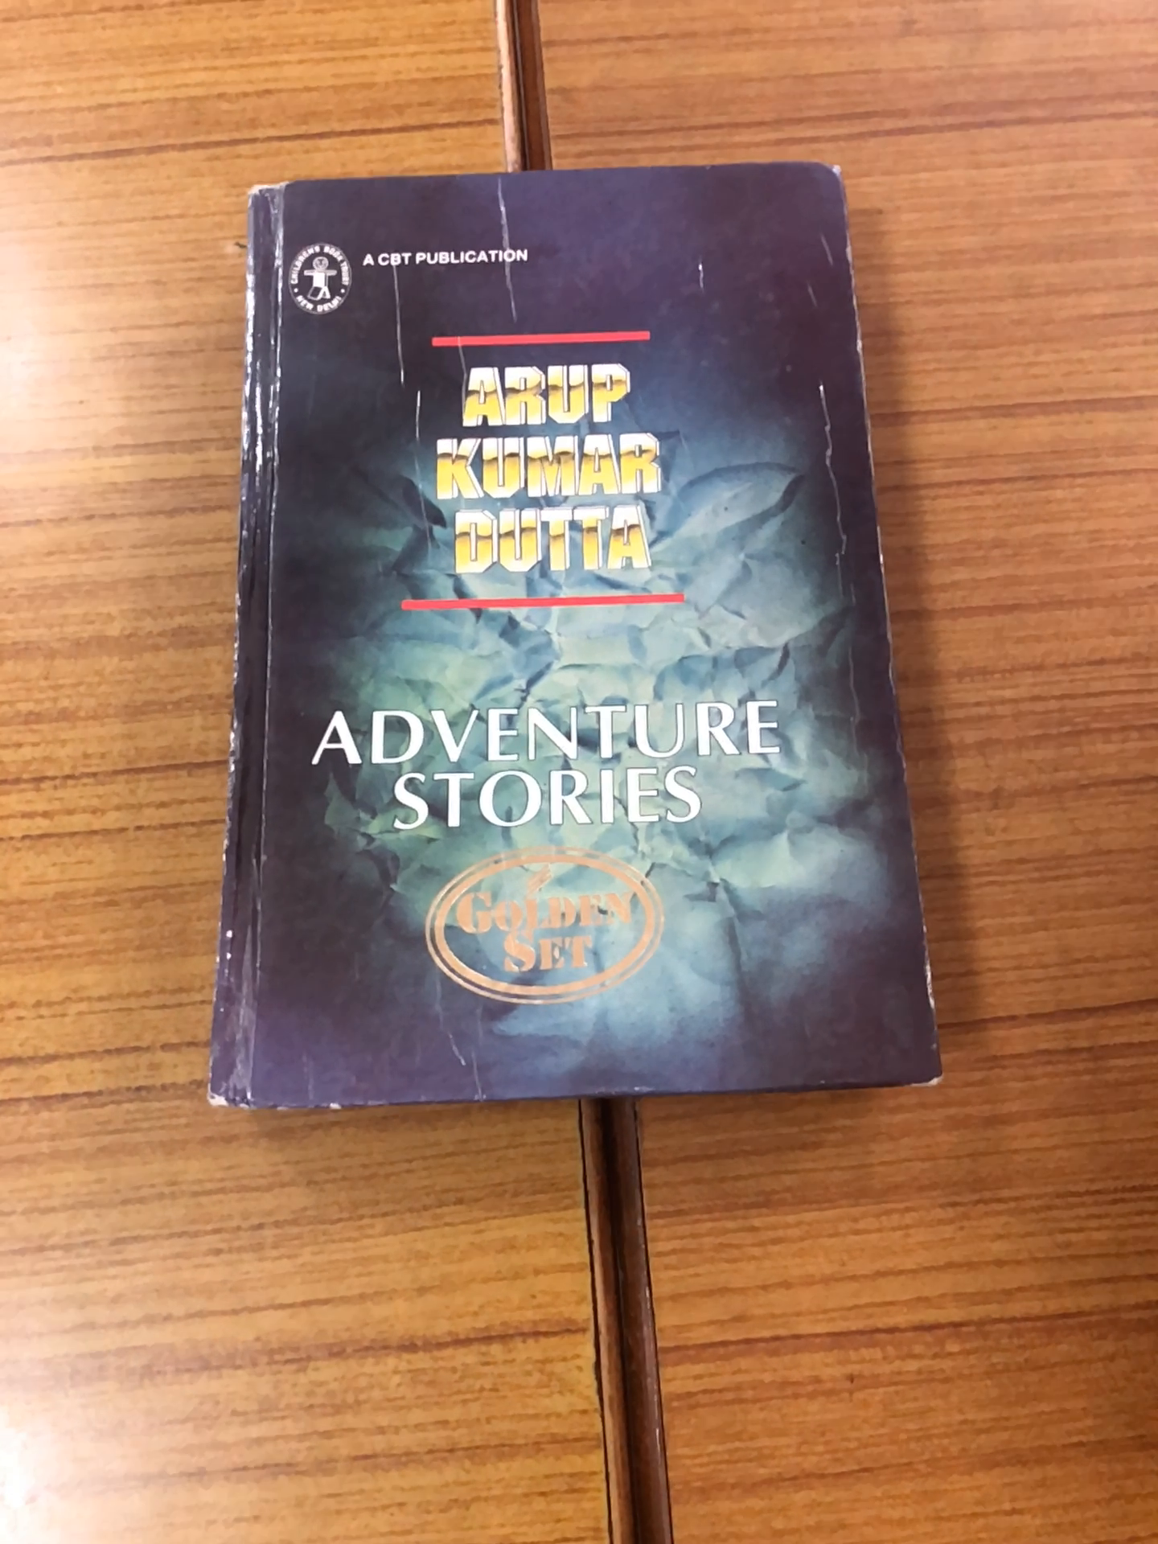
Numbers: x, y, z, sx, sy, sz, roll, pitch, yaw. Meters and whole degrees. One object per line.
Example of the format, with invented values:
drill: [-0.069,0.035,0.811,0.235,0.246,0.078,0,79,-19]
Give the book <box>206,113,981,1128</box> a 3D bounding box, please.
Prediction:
book: [-0.002,-0.038,0.285,0.145,0.036,0.218,-2,76,-1]
